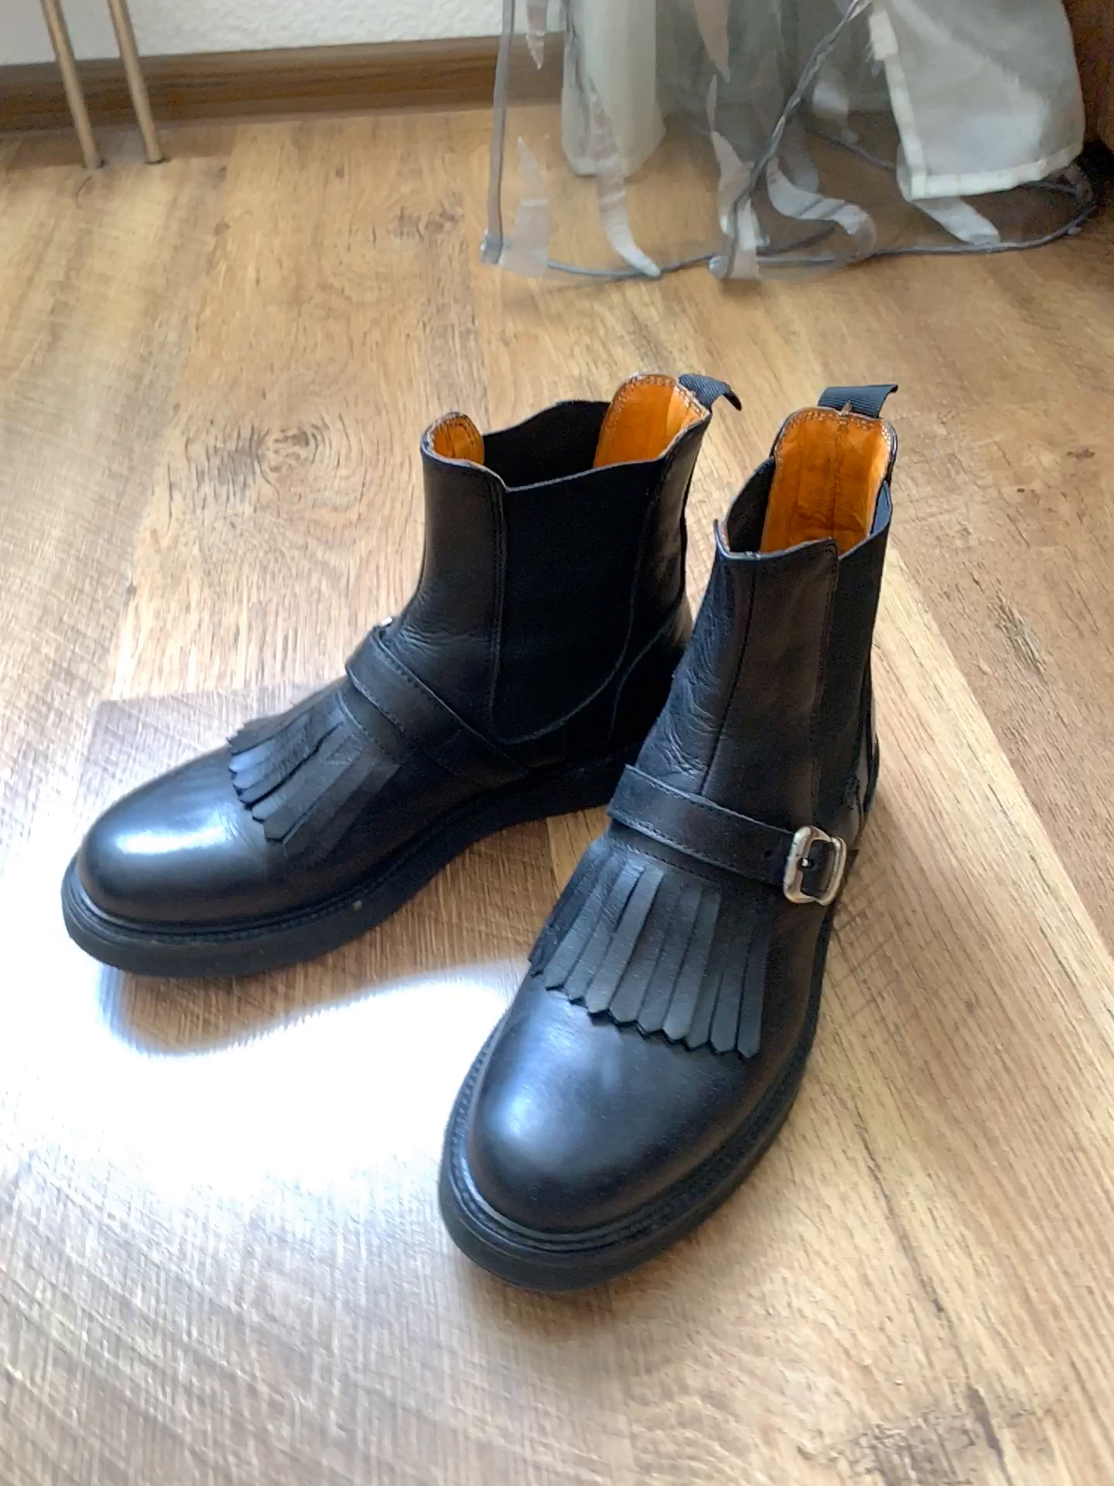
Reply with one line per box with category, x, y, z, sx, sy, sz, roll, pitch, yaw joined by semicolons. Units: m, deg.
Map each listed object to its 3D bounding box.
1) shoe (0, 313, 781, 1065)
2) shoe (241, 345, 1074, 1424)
shoe;-0.062;-0.024;0.395;0.260;0.151;0.090;-25;50;-20
shoe;0.048;0.021;0.333;0.100;0.149;0.261;21;50;21
